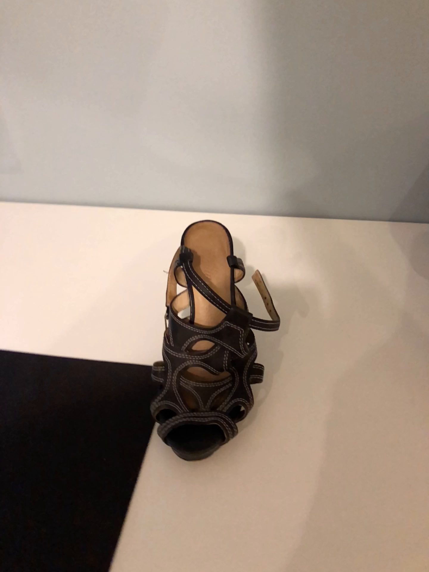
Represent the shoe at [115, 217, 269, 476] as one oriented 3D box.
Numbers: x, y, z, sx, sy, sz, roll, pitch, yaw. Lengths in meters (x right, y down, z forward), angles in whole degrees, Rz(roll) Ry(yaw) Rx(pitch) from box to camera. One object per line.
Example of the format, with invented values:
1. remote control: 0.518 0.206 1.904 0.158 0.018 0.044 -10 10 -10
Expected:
1. shoe: -0.005 0.041 0.436 0.100 0.099 0.222 3 42 7
